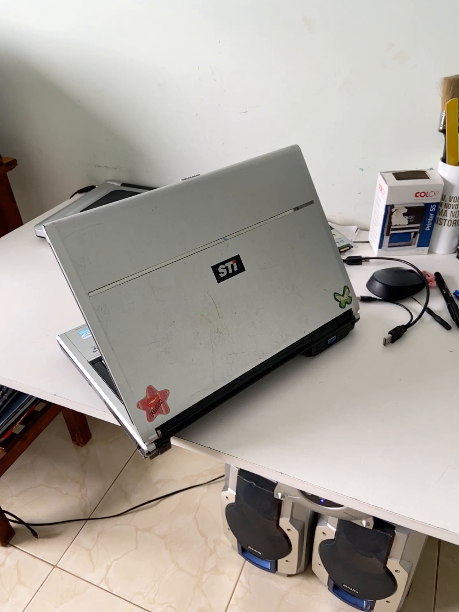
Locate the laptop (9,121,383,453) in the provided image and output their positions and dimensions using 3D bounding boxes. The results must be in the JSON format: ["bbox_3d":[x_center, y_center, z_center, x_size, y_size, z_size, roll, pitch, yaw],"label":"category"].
[{"bbox_3d":[-0.028,-0.057,0.578,0.338,0.210,0.236,-27,43,-29],"label":"laptop"}]
